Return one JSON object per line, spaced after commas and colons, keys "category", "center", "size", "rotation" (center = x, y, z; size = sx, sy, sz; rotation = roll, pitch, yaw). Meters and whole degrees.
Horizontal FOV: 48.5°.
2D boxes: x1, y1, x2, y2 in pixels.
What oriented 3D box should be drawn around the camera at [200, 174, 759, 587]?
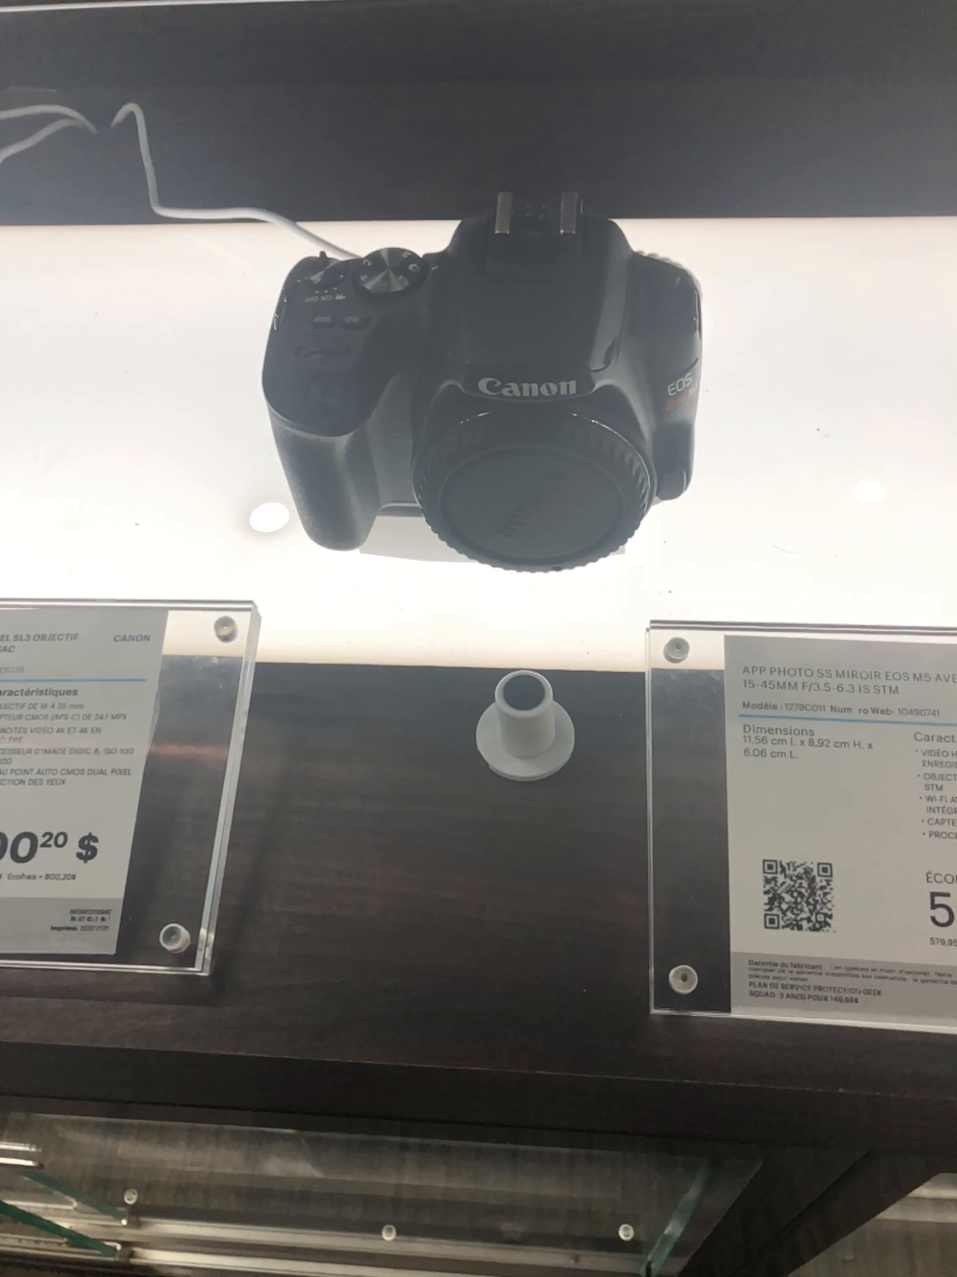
{"category": "camera", "center": [0.004, -0.069, 0.285], "size": [0.123, 0.071, 0.081], "rotation": [2, 53, 5]}
